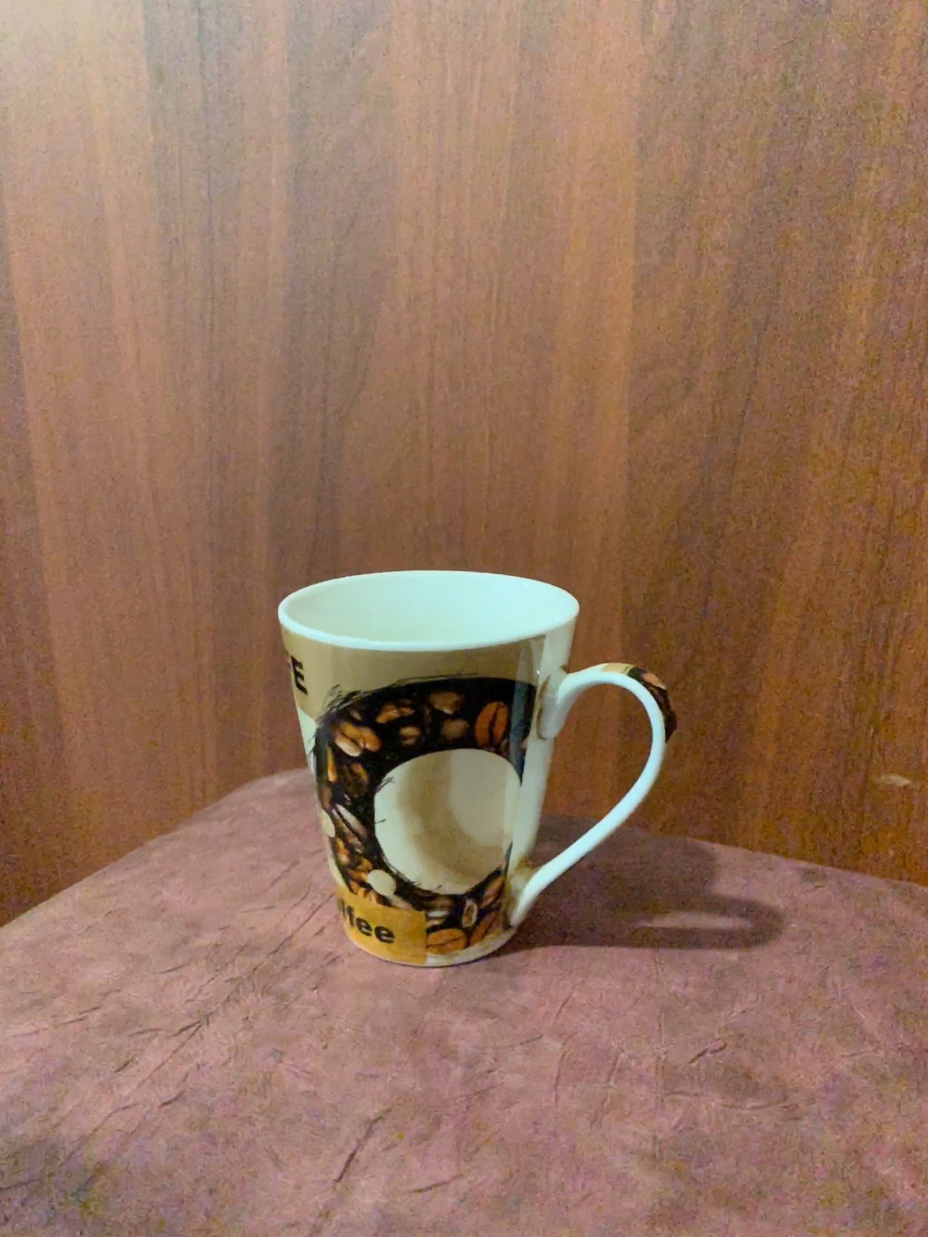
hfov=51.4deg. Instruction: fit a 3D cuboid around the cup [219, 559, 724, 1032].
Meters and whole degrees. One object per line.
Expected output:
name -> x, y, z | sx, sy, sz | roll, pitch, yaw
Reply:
cup -> 0.007, 0.040, 0.293 | 0.119, 0.092, 0.095 | 6, 15, 25
